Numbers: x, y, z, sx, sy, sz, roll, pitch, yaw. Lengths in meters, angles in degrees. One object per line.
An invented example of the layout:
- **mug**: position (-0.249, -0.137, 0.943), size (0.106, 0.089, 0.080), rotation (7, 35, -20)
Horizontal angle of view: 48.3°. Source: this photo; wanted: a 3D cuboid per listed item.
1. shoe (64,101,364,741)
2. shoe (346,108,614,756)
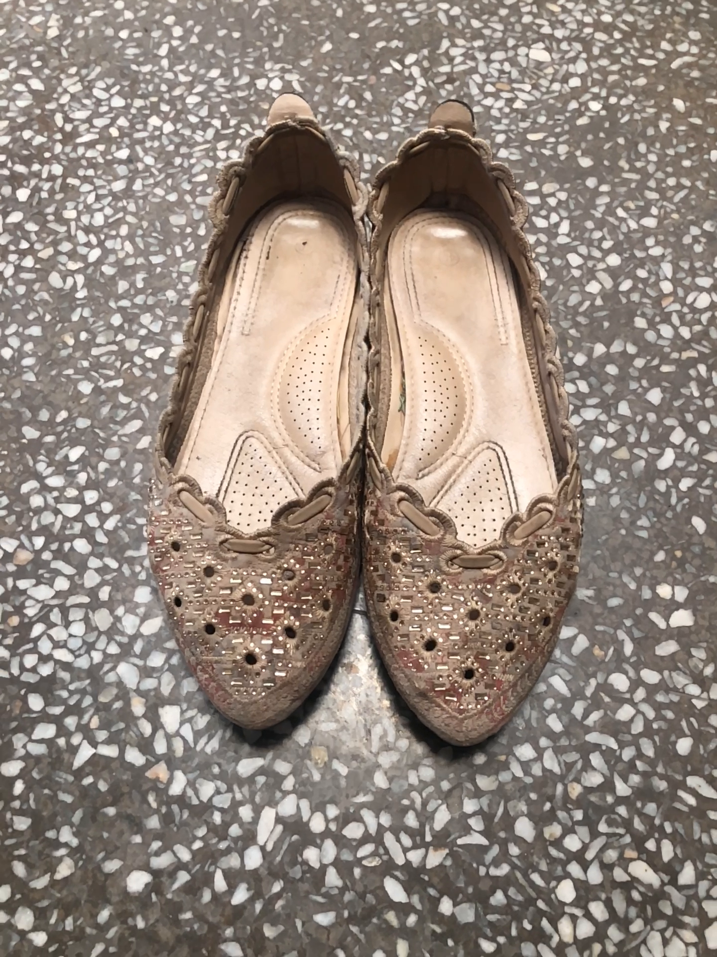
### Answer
- **shoe**: position (-0.048, -0.039, 0.339), size (0.090, 0.040, 0.280), rotation (2, 67, 0)
- **shoe**: position (0.046, -0.030, 0.331), size (0.090, 0.040, 0.270), rotation (2, 71, 0)
